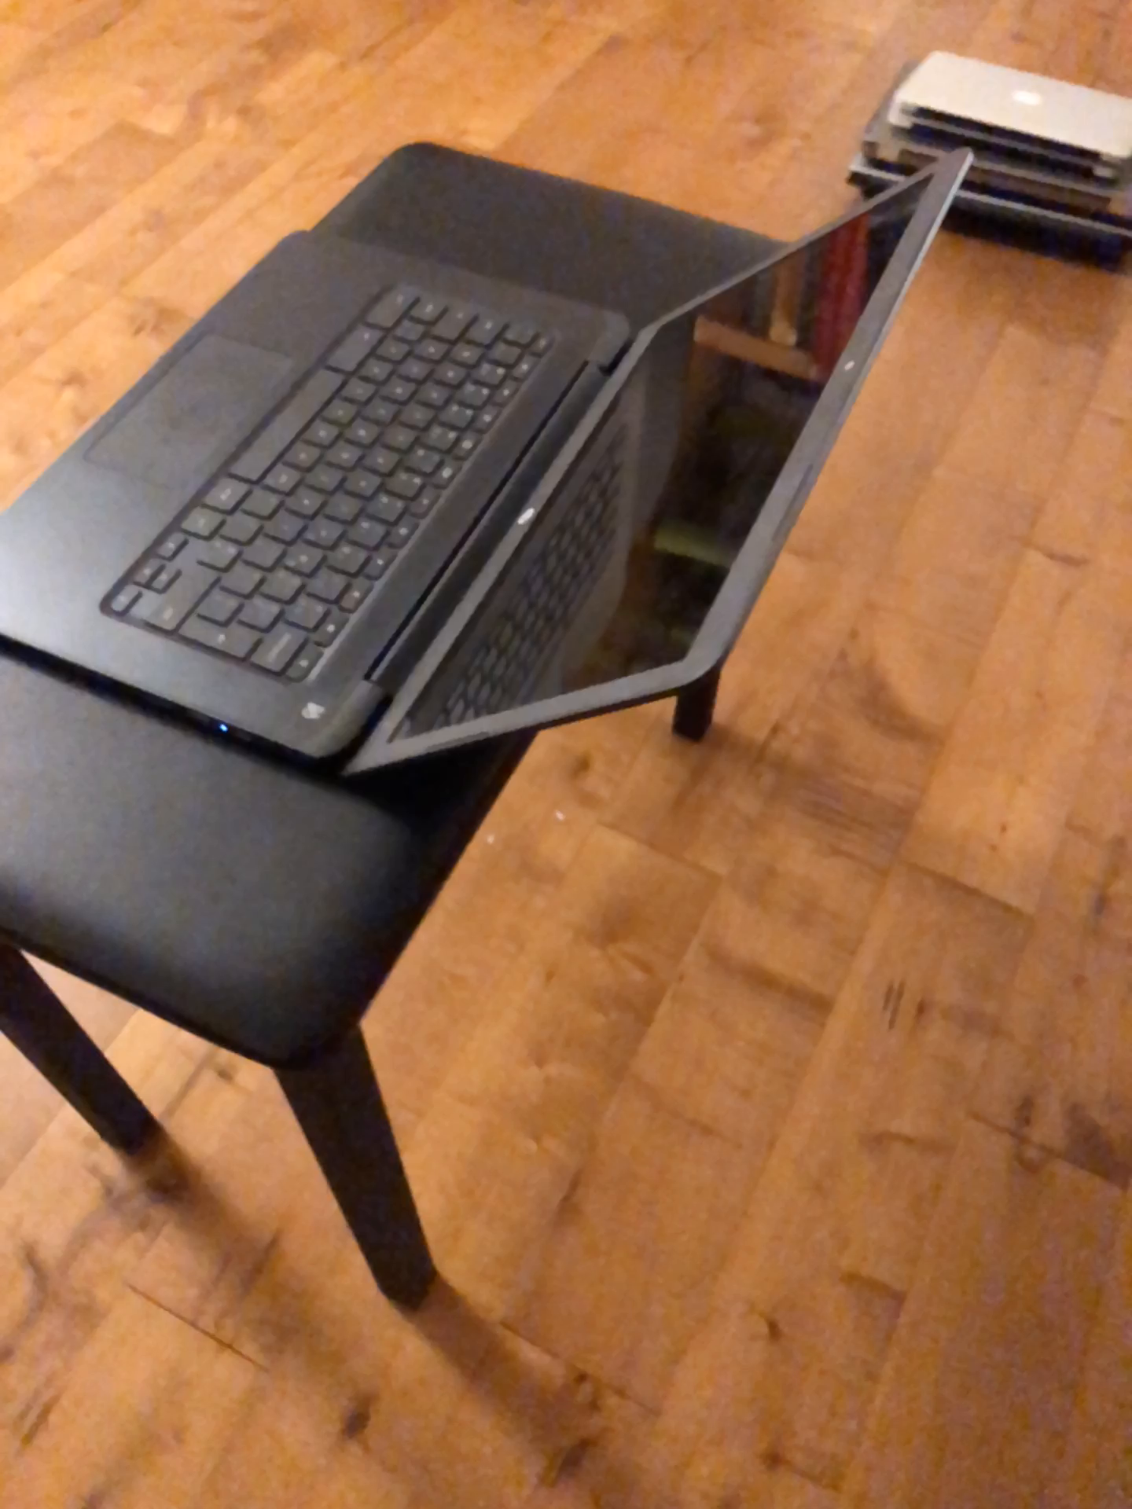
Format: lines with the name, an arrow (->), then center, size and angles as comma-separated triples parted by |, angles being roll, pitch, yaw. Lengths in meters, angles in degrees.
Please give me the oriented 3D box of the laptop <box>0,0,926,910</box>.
laptop -> -0.069, -0.162, 0.567 | 0.363, 0.144, 0.317 | 21, 57, 12
